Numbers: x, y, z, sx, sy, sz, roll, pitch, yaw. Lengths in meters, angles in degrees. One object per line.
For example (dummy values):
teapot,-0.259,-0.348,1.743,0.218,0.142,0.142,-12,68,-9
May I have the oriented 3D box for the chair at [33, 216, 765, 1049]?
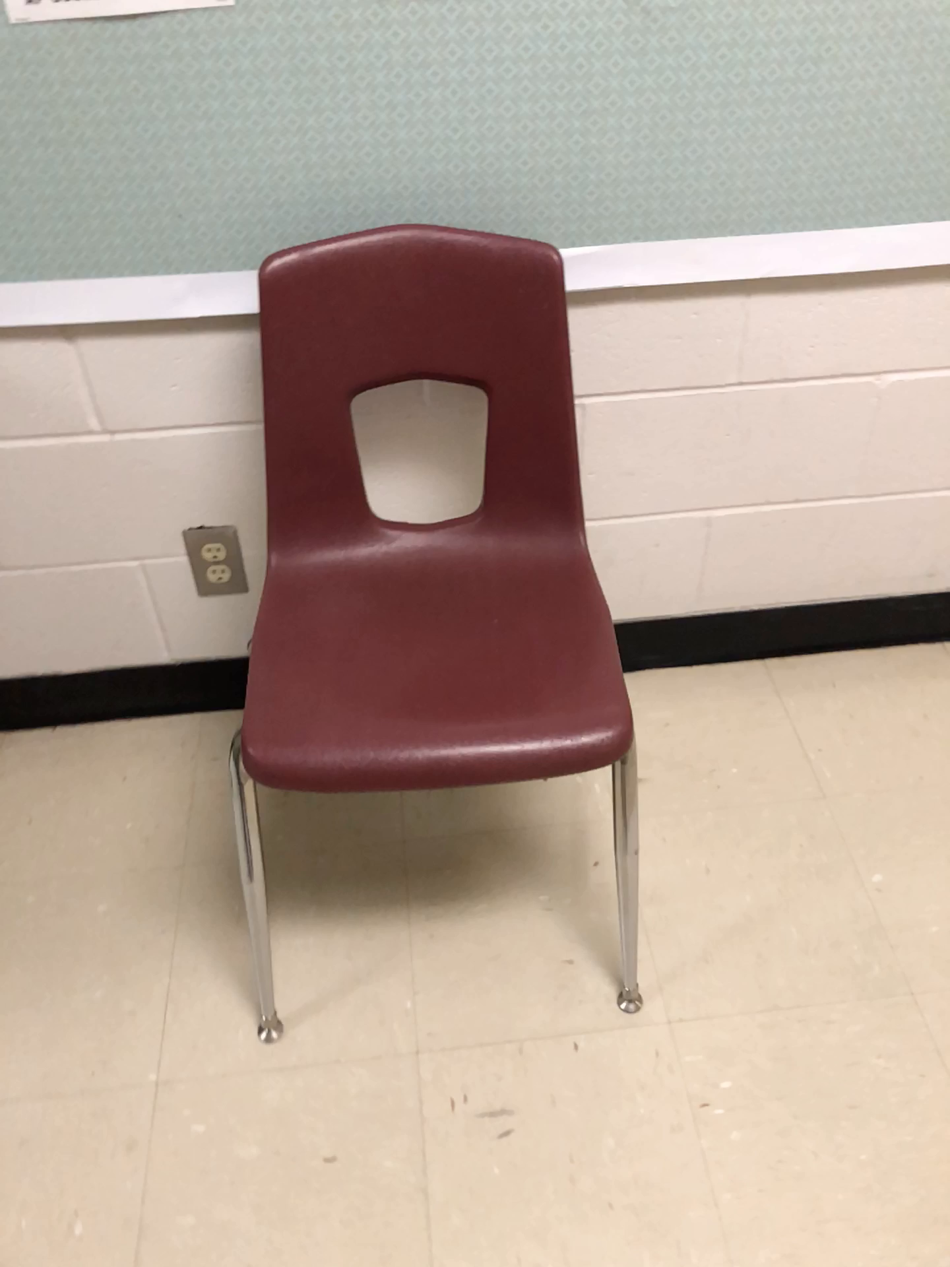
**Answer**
chair,-0.063,0.008,1.157,0.504,0.707,0.557,-4,43,-2
